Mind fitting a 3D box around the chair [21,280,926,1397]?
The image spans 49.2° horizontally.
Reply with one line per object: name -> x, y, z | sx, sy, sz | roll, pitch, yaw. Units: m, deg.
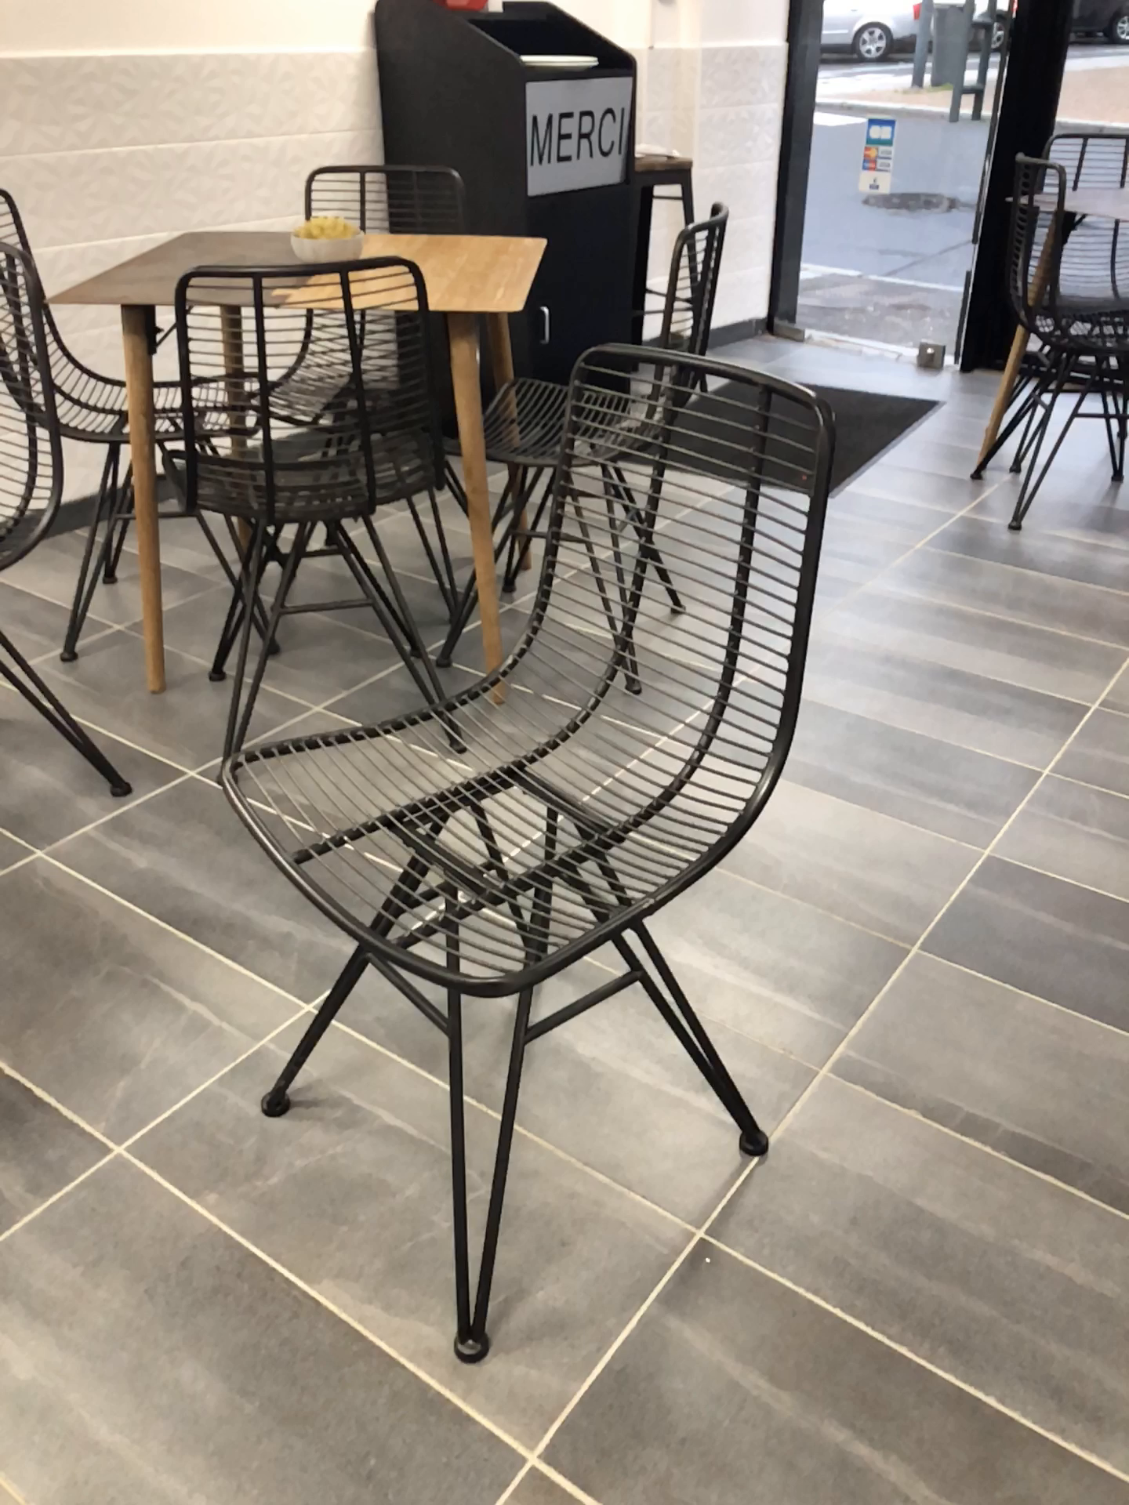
chair -> -0.078, 0.029, 1.171 | 0.522, 0.785, 0.501 | -23, 37, -33
